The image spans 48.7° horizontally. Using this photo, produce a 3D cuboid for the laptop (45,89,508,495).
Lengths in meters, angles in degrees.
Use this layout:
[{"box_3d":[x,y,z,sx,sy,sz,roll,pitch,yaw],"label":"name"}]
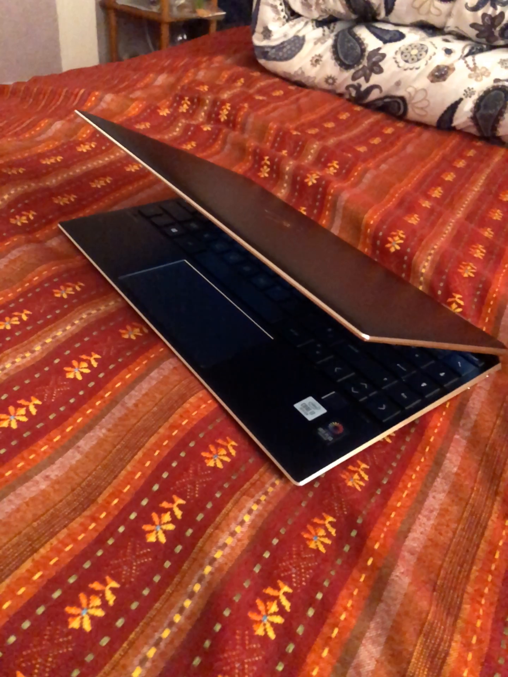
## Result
[{"box_3d":[0.008,-0.083,0.405,0.203,0.101,0.326,-19,44,-34],"label":"laptop"}]
